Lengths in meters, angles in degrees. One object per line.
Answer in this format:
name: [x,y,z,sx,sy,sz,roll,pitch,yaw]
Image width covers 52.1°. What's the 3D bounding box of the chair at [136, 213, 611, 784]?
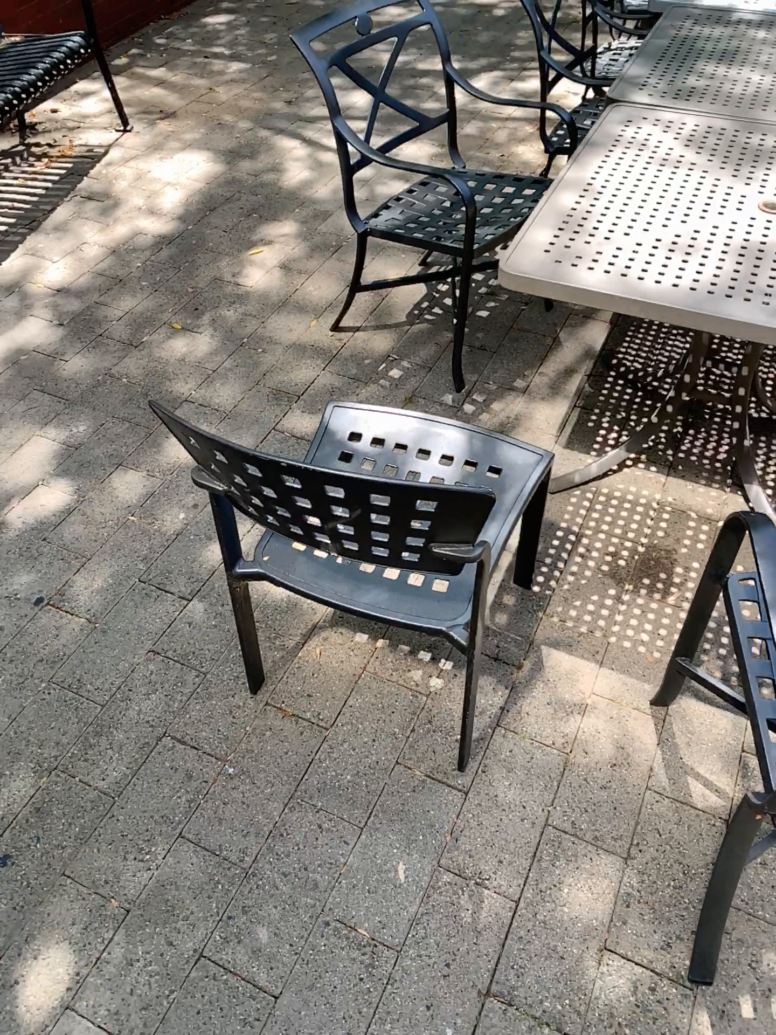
chair: [0.020,-0.026,1.390,0.491,0.716,0.552,17,50,18]
